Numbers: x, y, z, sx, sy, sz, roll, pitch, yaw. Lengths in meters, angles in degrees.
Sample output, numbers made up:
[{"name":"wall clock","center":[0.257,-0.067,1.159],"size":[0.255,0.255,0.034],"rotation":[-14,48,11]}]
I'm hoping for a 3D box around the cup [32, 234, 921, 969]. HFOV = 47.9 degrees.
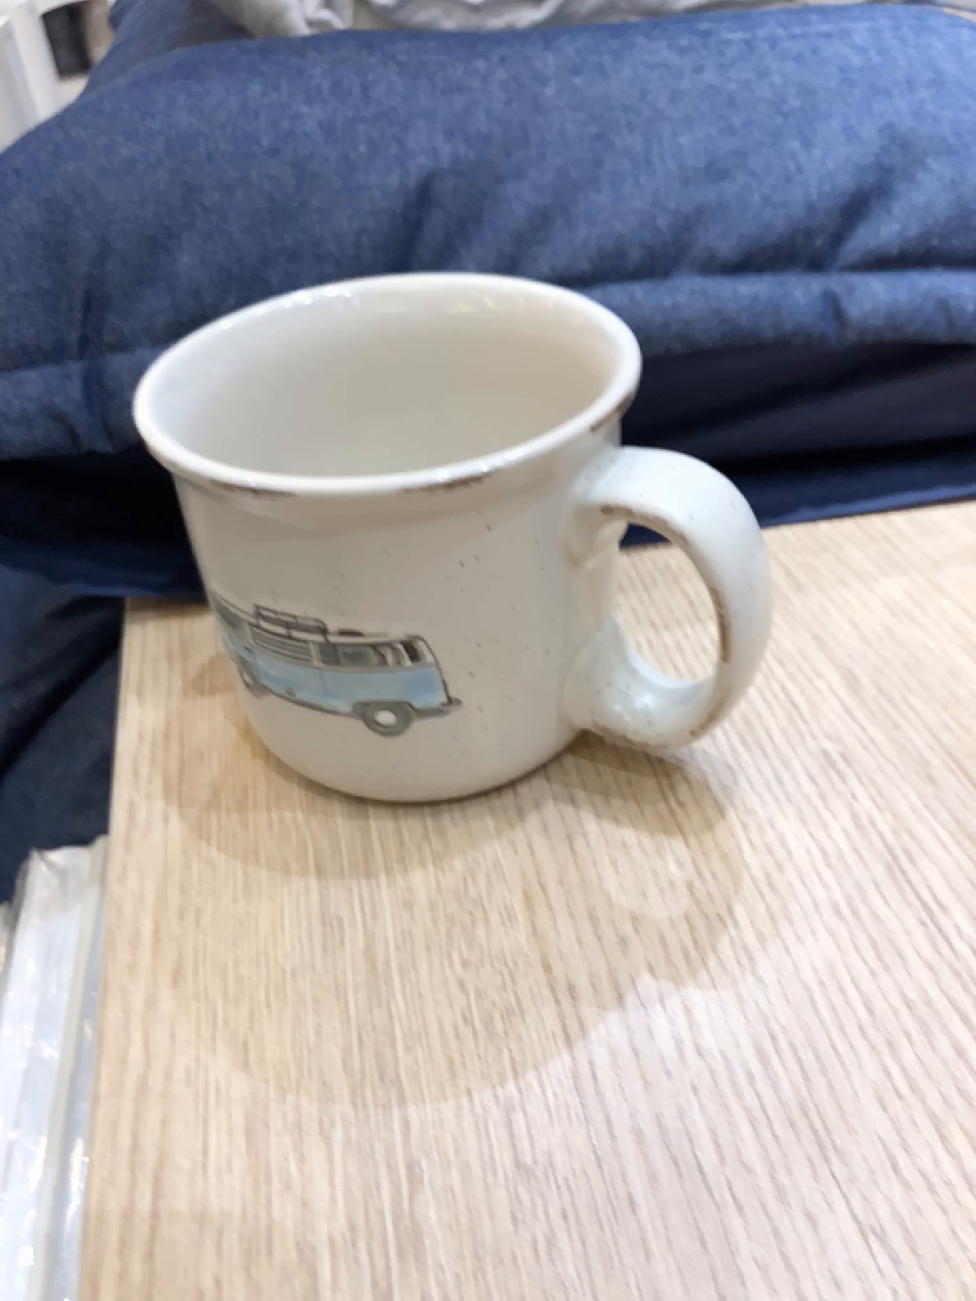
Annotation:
[{"name":"cup","center":[0.002,-0.023,0.238],"size":[0.140,0.089,0.101],"rotation":[16,43,26]}]
